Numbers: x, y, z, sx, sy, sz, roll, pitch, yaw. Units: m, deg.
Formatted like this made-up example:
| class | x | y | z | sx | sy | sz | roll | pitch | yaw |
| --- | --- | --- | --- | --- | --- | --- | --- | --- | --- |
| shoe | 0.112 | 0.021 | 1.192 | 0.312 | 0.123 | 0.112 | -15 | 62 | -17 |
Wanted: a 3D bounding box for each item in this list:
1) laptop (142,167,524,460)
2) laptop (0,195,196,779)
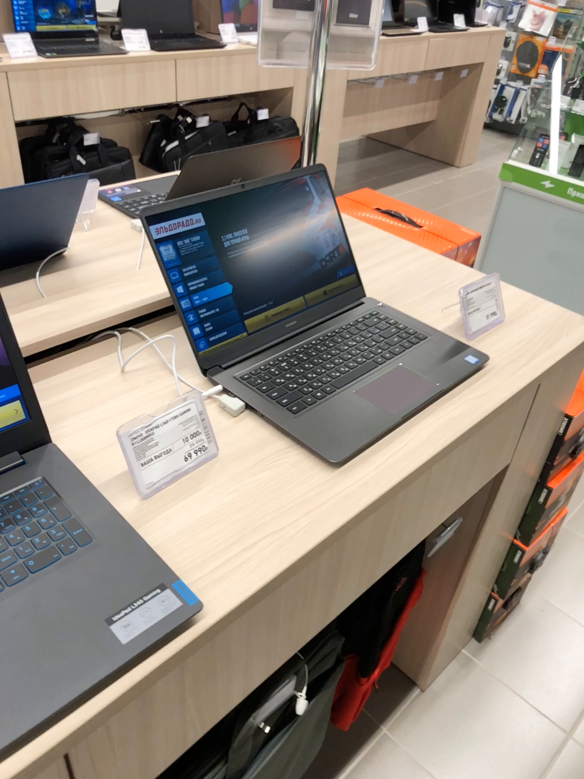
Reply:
| class | x | y | z | sx | sy | sz | roll | pitch | yaw |
| --- | --- | --- | --- | --- | --- | --- | --- | --- | --- |
| laptop | 0.051 | -0.139 | 0.886 | 0.358 | 0.180 | 0.345 | 32 | 43 | 31 |
| laptop | -0.340 | 0.068 | 0.474 | 0.393 | 0.242 | 0.379 | -26 | 46 | -37 |
